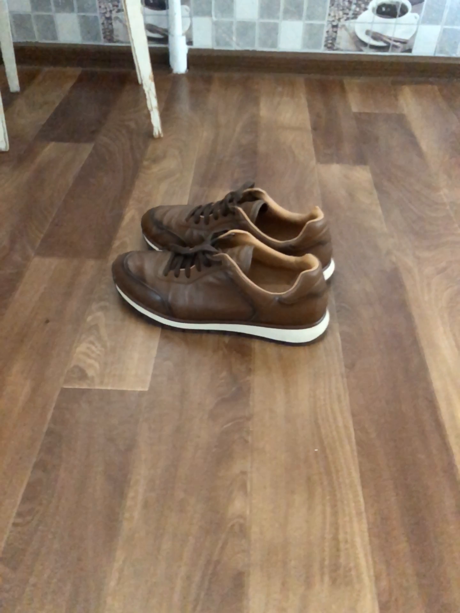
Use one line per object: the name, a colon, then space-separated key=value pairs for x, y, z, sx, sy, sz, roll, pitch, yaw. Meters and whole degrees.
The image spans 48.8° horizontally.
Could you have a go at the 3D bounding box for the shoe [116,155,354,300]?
shoe: x=0.007 y=-0.110 z=0.671 sx=0.280 sy=0.089 sz=0.111 roll=14 pitch=45 yaw=13

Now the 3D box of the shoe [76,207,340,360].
shoe: x=-0.022 y=-0.031 z=0.600 sx=0.280 sy=0.089 sz=0.101 roll=11 pitch=45 yaw=10
